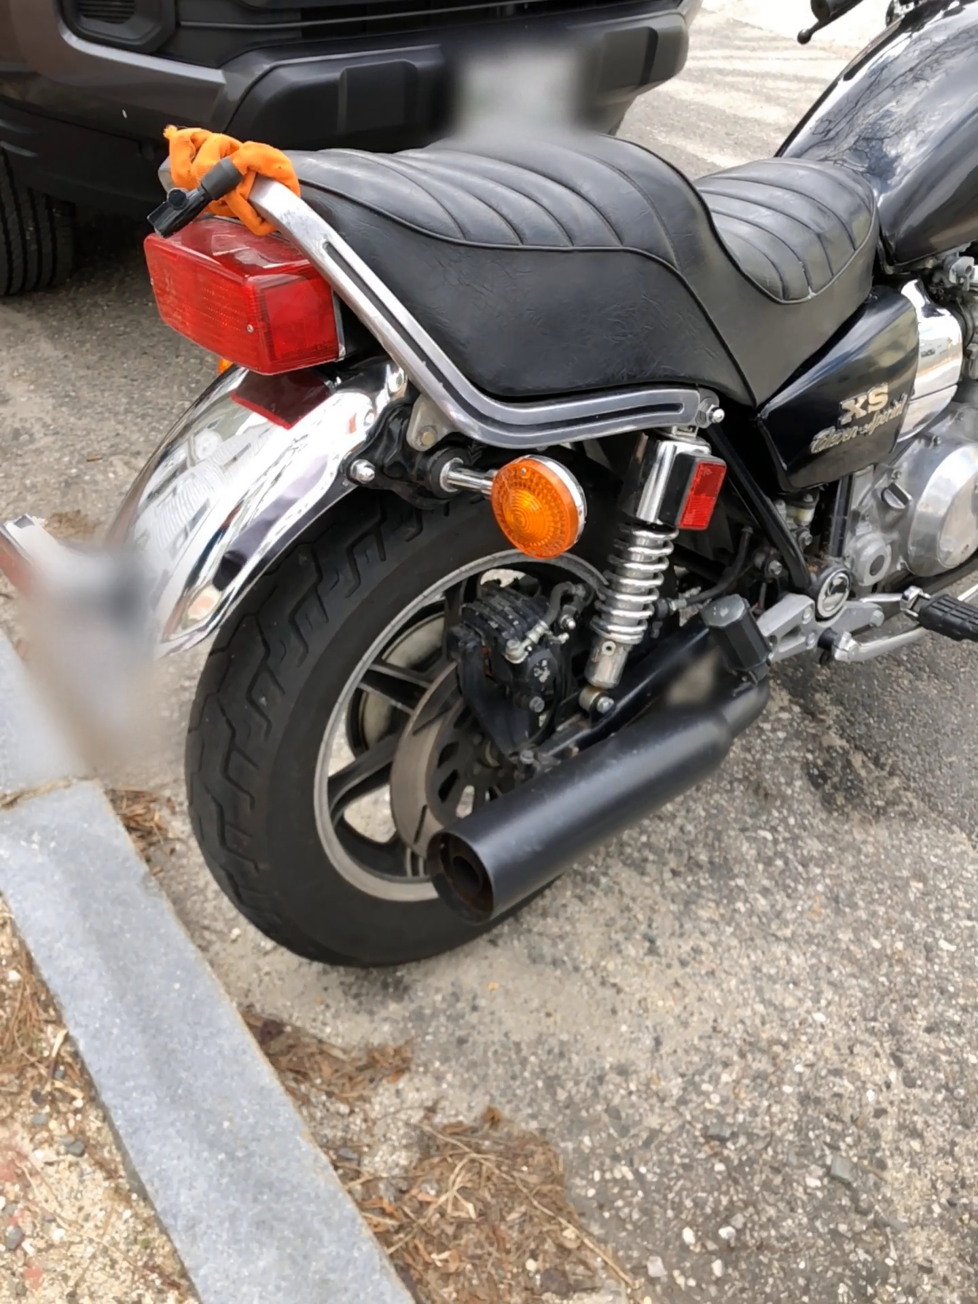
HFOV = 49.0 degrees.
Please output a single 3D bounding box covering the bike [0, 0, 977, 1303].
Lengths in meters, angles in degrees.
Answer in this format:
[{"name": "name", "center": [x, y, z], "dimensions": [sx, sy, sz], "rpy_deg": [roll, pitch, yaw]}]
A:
[{"name": "bike", "center": [0.591, -0.472, 1.530], "dimensions": [2.305, 1.418, 0.688], "rpy_deg": [-28, 49, -32]}]
